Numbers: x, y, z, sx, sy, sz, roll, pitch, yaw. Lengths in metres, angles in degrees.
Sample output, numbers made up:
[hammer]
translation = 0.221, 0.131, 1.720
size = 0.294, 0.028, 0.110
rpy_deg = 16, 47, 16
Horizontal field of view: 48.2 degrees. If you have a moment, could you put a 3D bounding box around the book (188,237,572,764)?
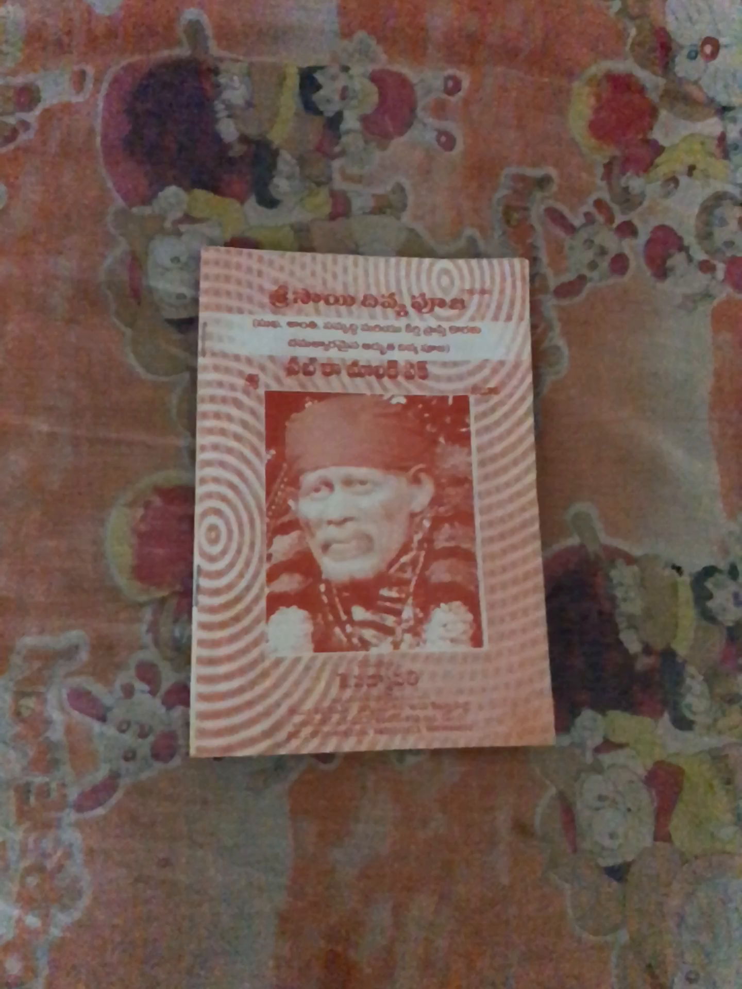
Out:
[book]
translation = 0.003, -0.002, 0.279
size = 0.120, 0.010, 0.173
rpy_deg = 1, 78, -8
